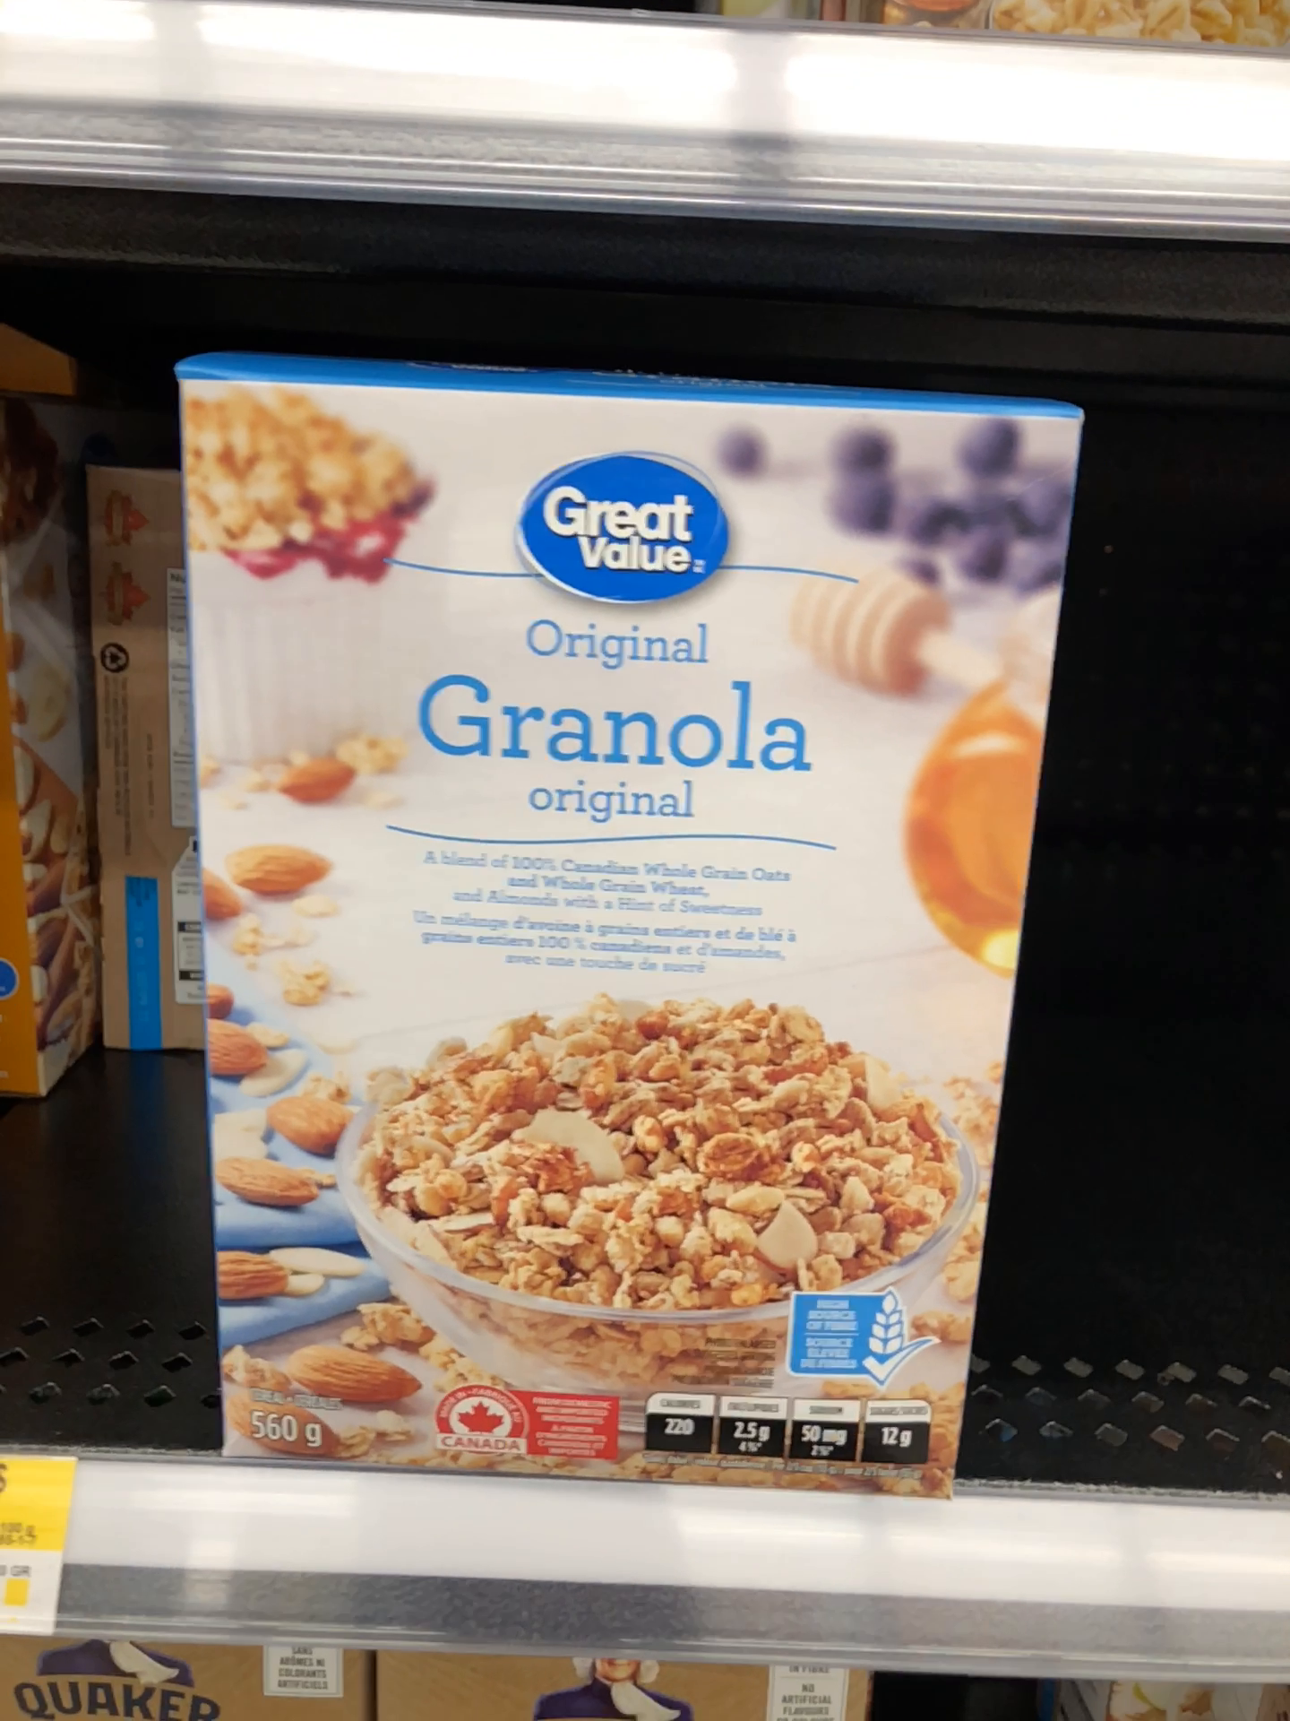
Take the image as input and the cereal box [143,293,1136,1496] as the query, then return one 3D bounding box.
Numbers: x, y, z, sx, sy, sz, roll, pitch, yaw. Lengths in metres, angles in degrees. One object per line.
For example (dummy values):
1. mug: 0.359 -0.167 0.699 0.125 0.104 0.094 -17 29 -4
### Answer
1. cereal box: -0.005 0.008 0.293 0.160 0.219 0.070 3 15 1
